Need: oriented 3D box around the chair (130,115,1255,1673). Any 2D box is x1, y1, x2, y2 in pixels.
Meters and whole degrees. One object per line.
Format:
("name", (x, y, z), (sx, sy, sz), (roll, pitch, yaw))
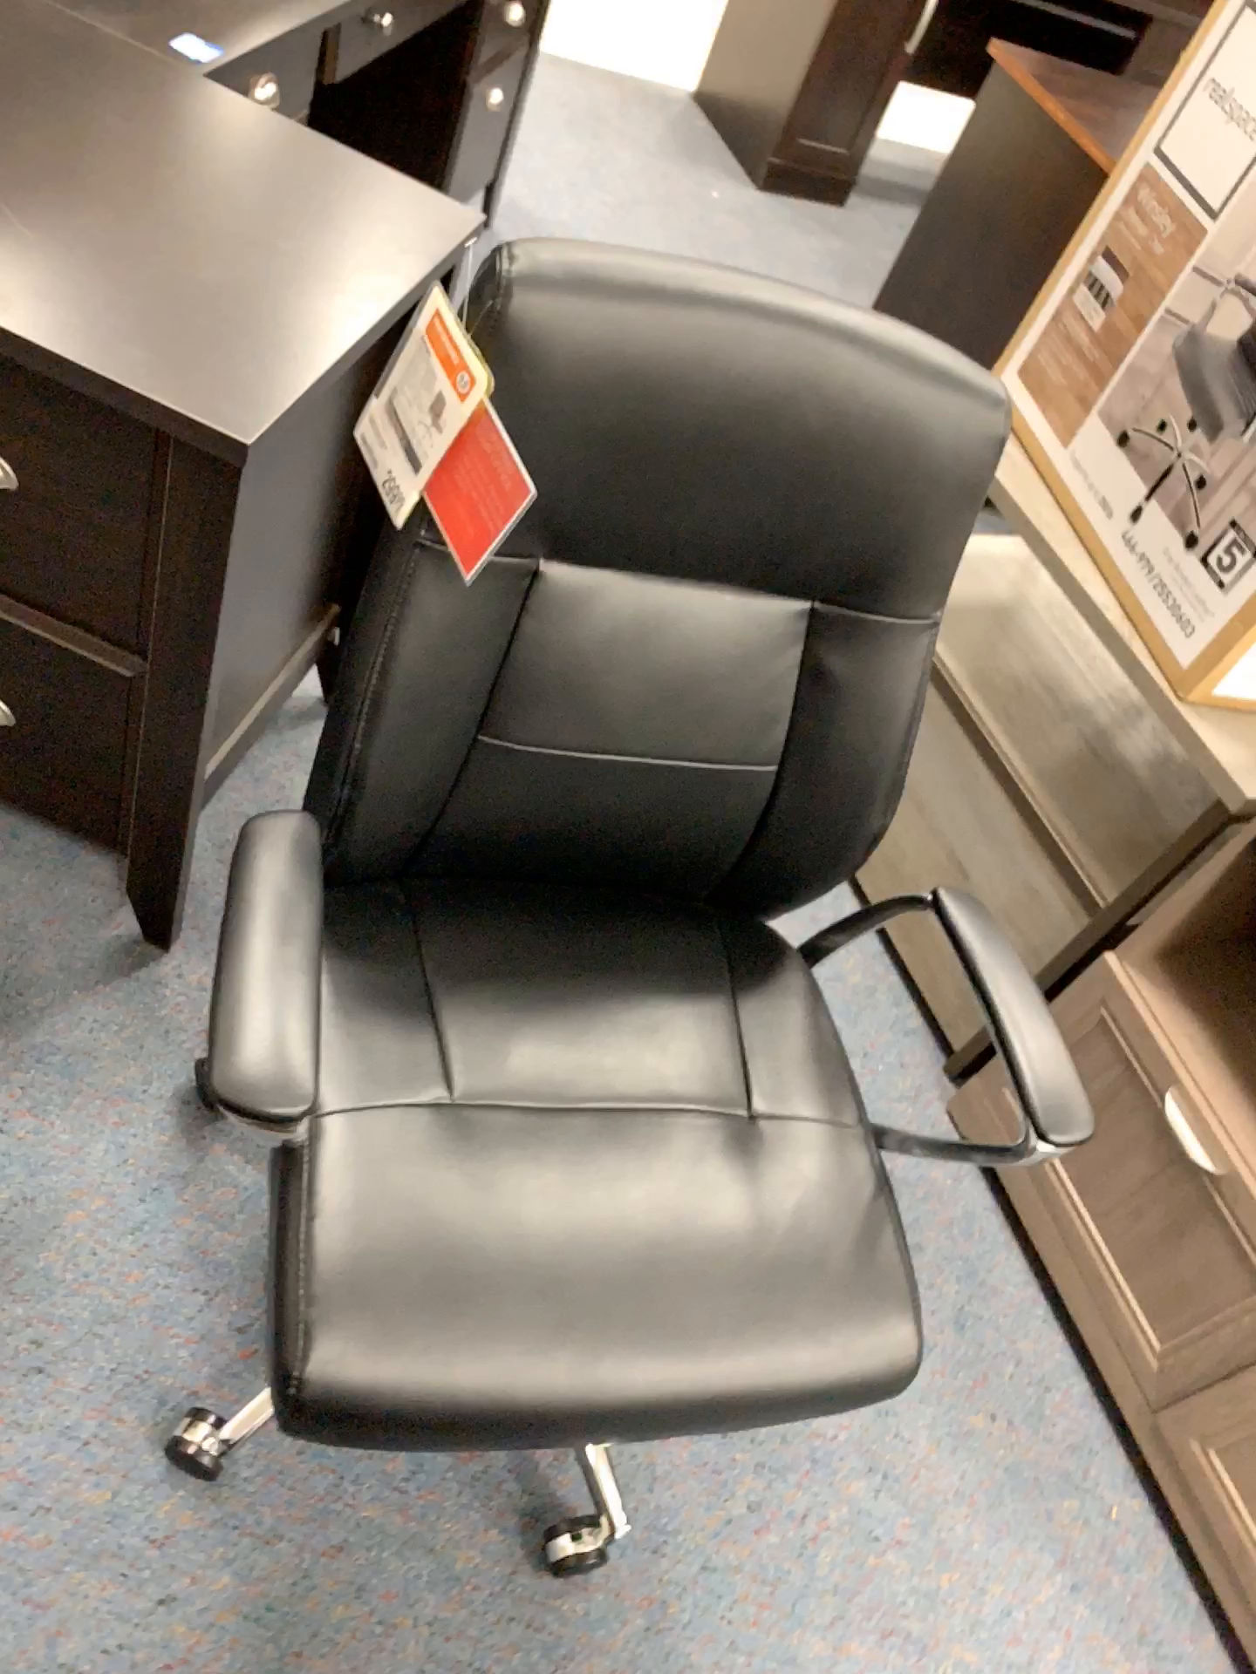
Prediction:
("chair", (-0.009, 0.155, 1.080), (0.665, 0.996, 0.720), (5, 50, -21))
